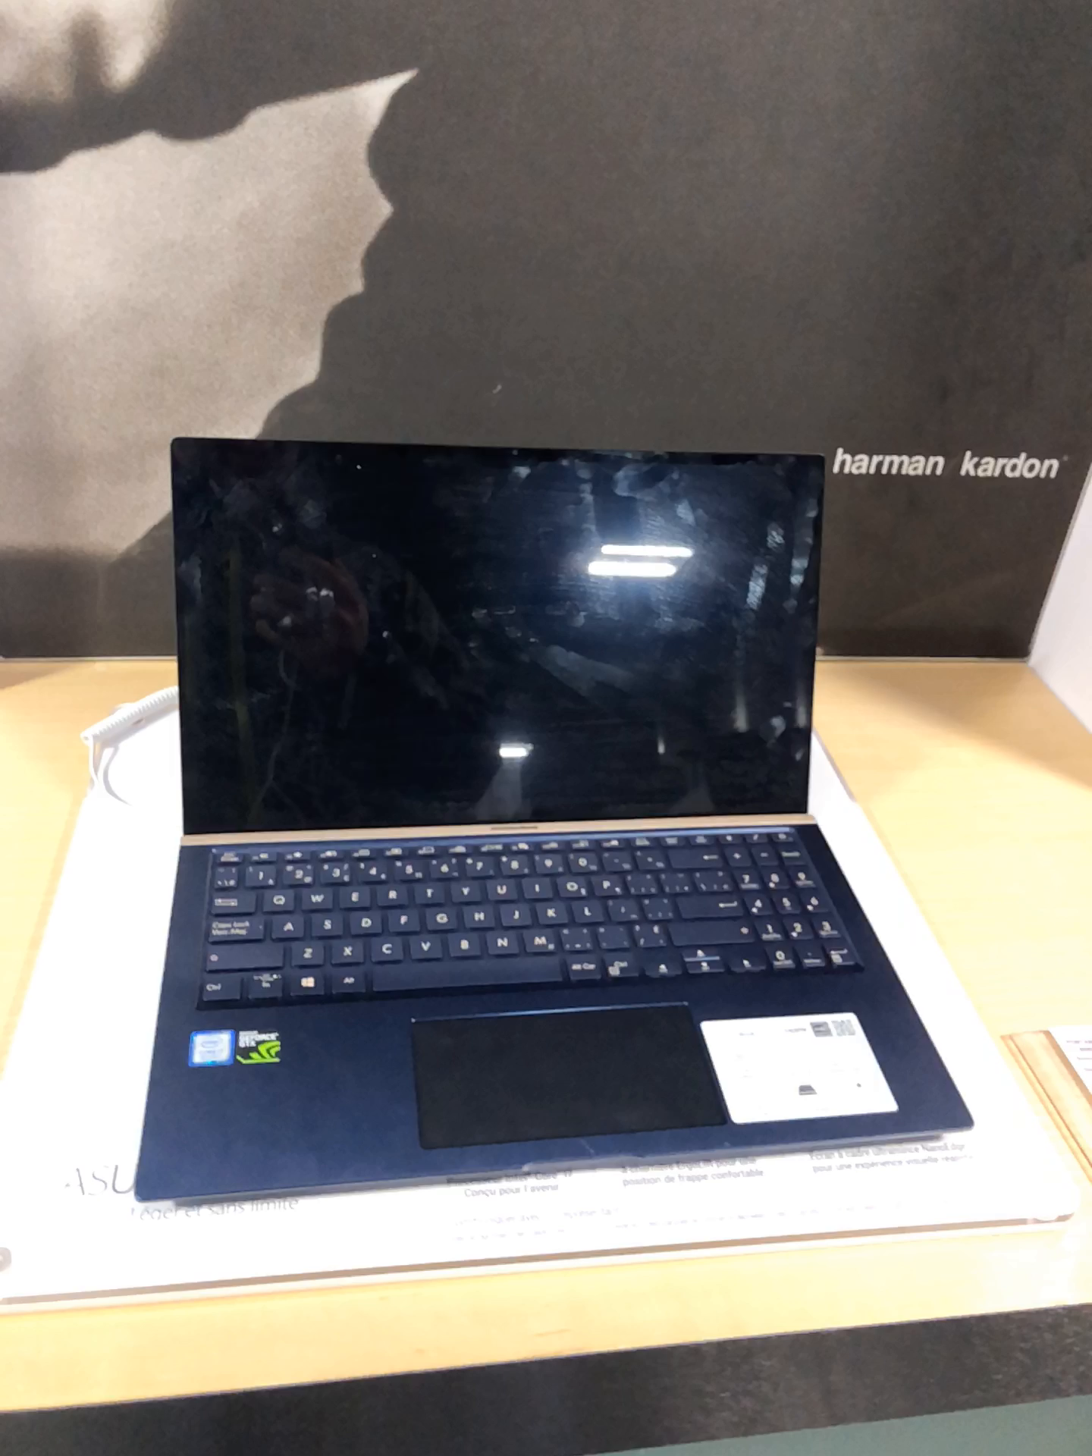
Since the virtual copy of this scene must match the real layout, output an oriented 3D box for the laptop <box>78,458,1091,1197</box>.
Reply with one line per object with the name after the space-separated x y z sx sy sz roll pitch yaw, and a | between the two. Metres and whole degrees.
-0.001 0.015 0.545 0.331 0.173 0.293 -1 34 -9 | laptop
